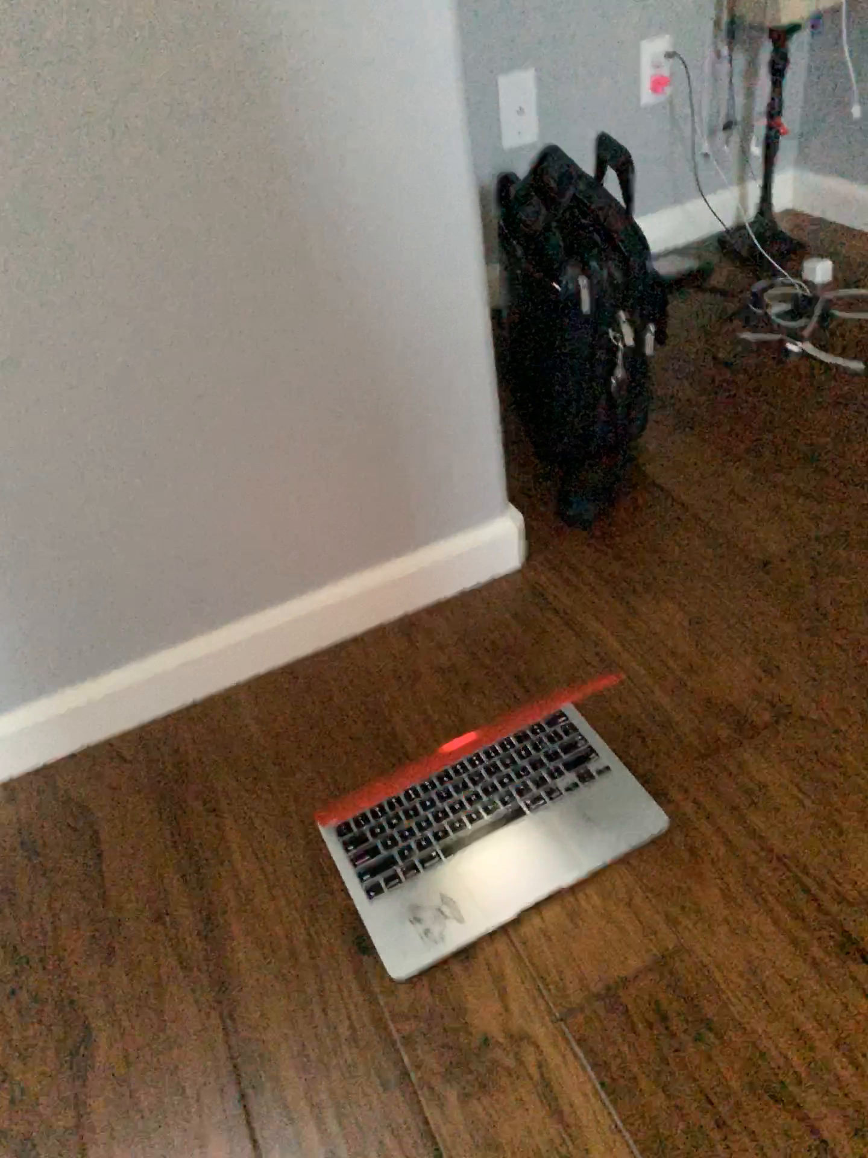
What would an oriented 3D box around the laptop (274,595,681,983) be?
[{"bbox_3d":[0.042,0.179,0.821,0.301,0.139,0.199,-23,41,-17],"label":"laptop"}]
